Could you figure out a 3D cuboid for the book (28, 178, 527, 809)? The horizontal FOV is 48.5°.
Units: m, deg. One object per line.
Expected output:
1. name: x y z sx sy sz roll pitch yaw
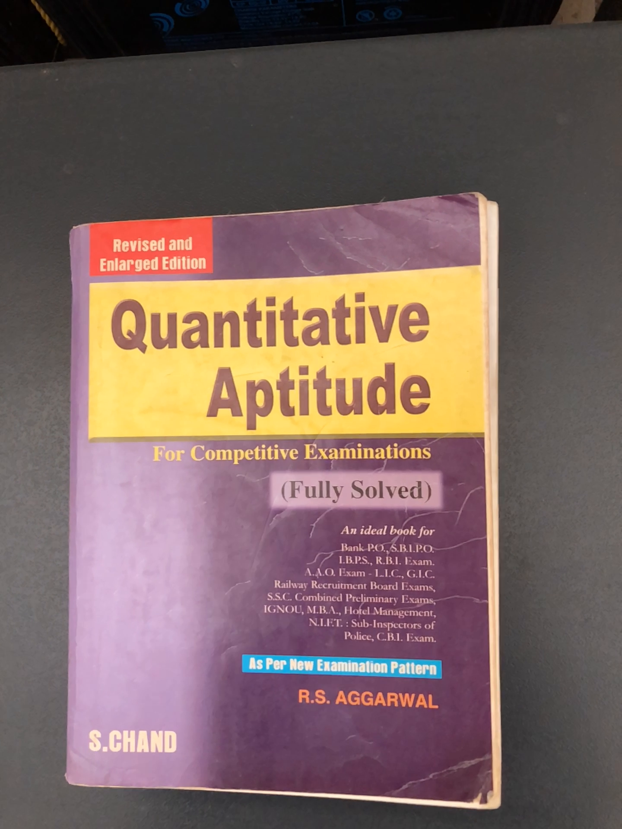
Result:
1. book: -0.013 0.027 0.277 0.180 0.050 0.220 0 87 6
